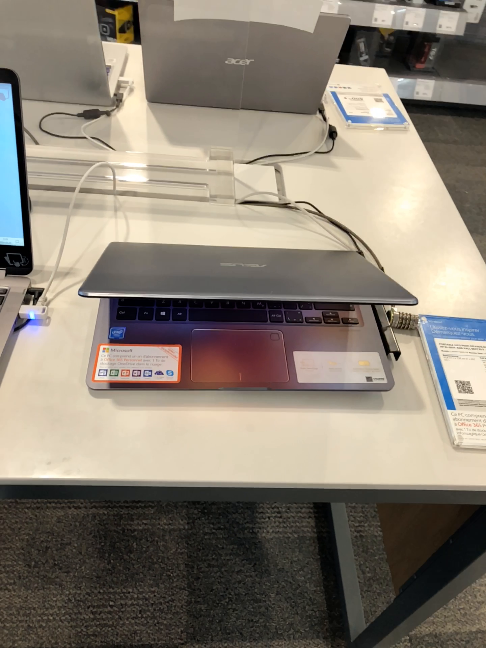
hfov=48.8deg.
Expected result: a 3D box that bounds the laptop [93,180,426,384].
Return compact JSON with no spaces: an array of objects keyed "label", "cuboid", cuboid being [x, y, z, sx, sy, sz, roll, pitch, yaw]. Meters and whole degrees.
[{"label":"laptop","cuboid":[0.008,-0.048,0.579,0.300,0.099,0.202,1,47,-8]}]
